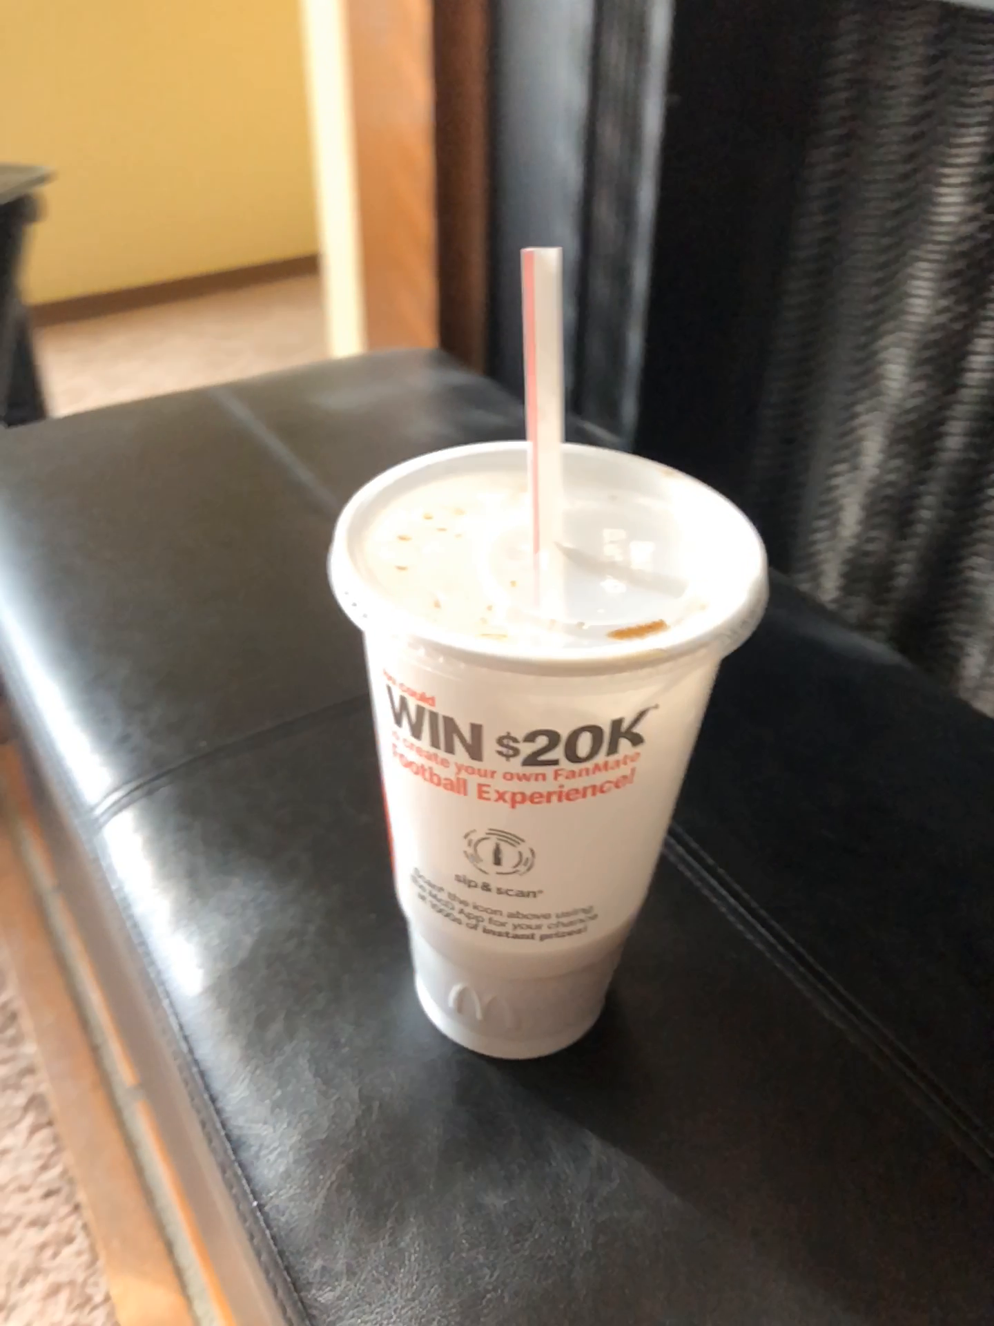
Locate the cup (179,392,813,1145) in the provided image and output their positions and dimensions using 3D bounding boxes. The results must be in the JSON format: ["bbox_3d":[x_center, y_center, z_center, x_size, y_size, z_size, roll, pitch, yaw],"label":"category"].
[{"bbox_3d":[0.005,0.026,0.313,0.120,0.150,0.110,1,38,-1],"label":"cup"}]
